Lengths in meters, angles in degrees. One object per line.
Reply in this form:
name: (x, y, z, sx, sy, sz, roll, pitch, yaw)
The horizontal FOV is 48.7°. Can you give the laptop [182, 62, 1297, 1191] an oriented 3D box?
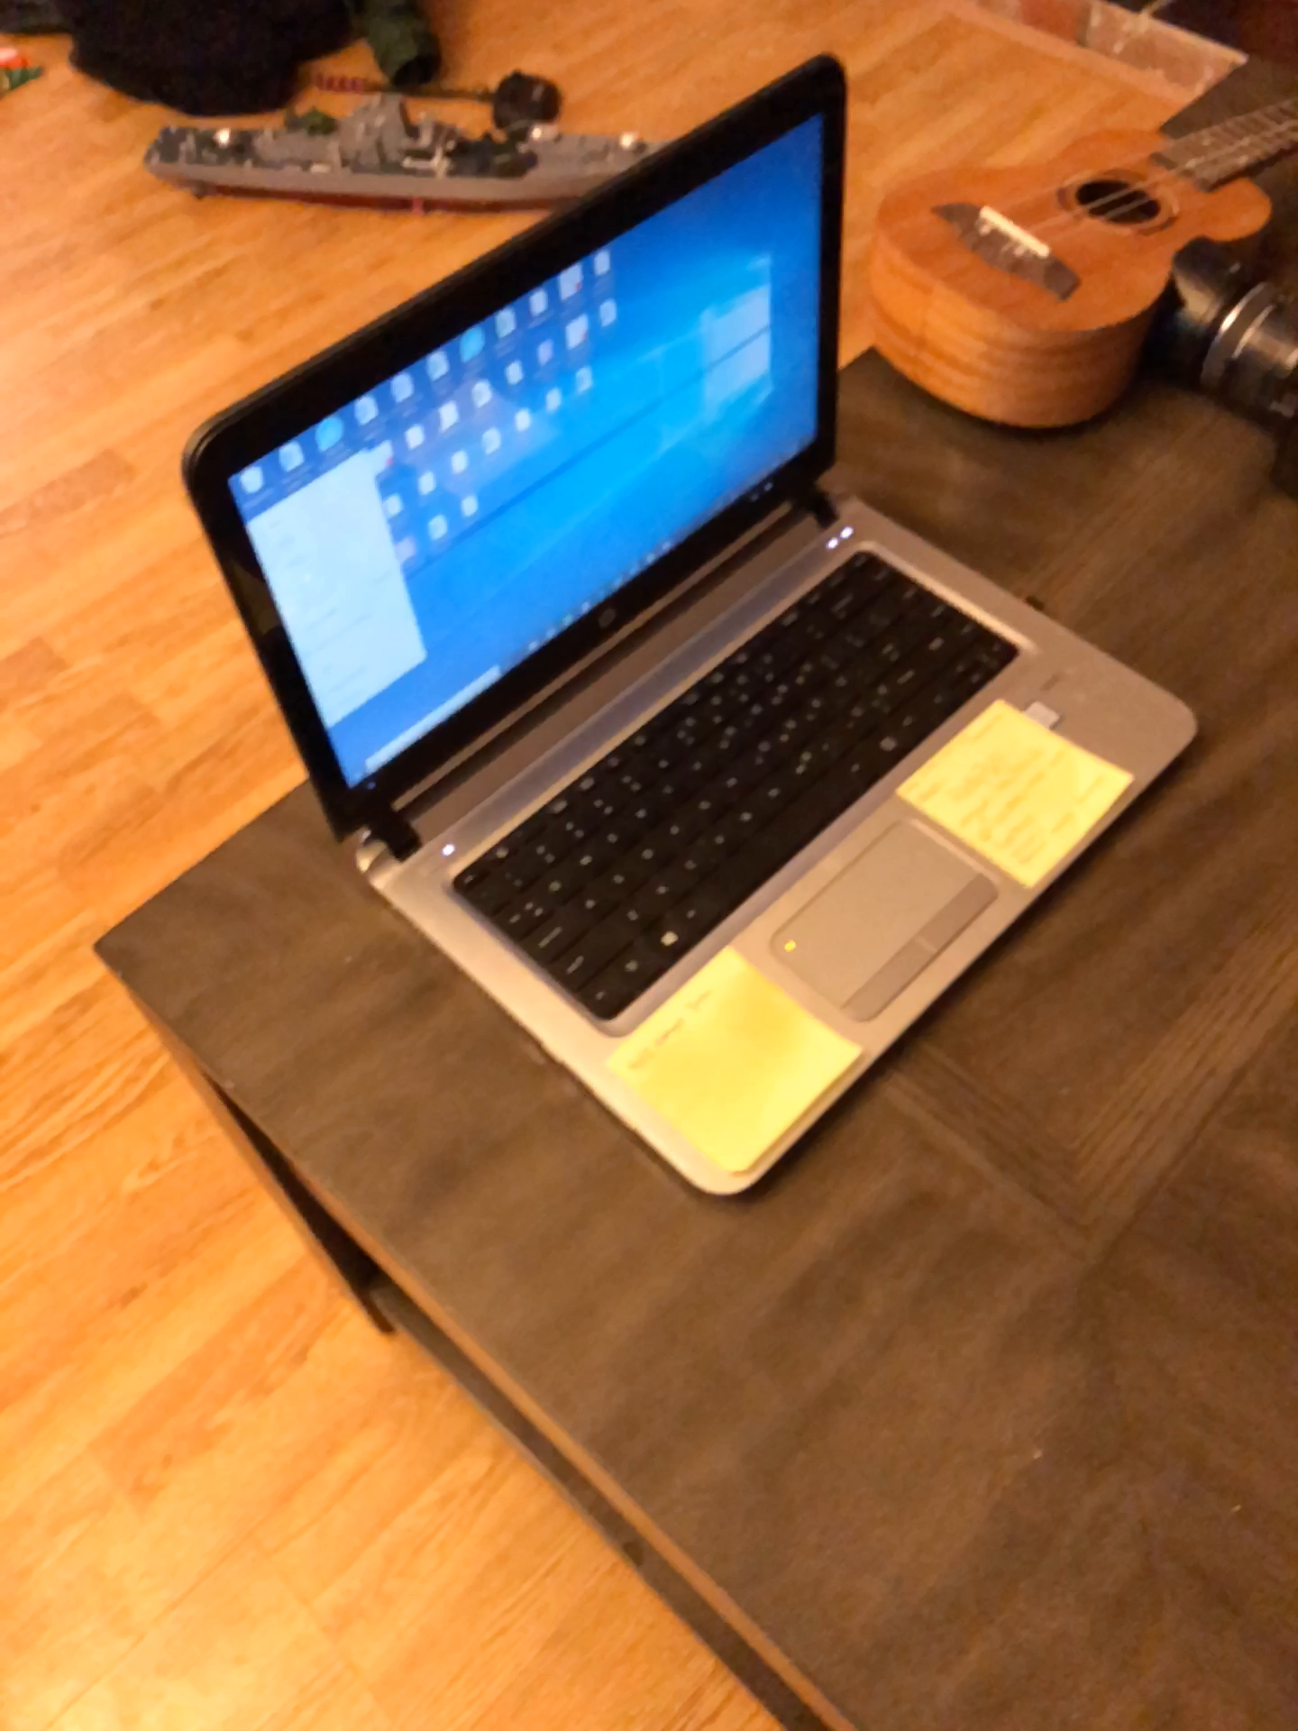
laptop: (0.051, -0.102, 0.571, 0.247, 0.217, 0.317, 39, 66, 23)
